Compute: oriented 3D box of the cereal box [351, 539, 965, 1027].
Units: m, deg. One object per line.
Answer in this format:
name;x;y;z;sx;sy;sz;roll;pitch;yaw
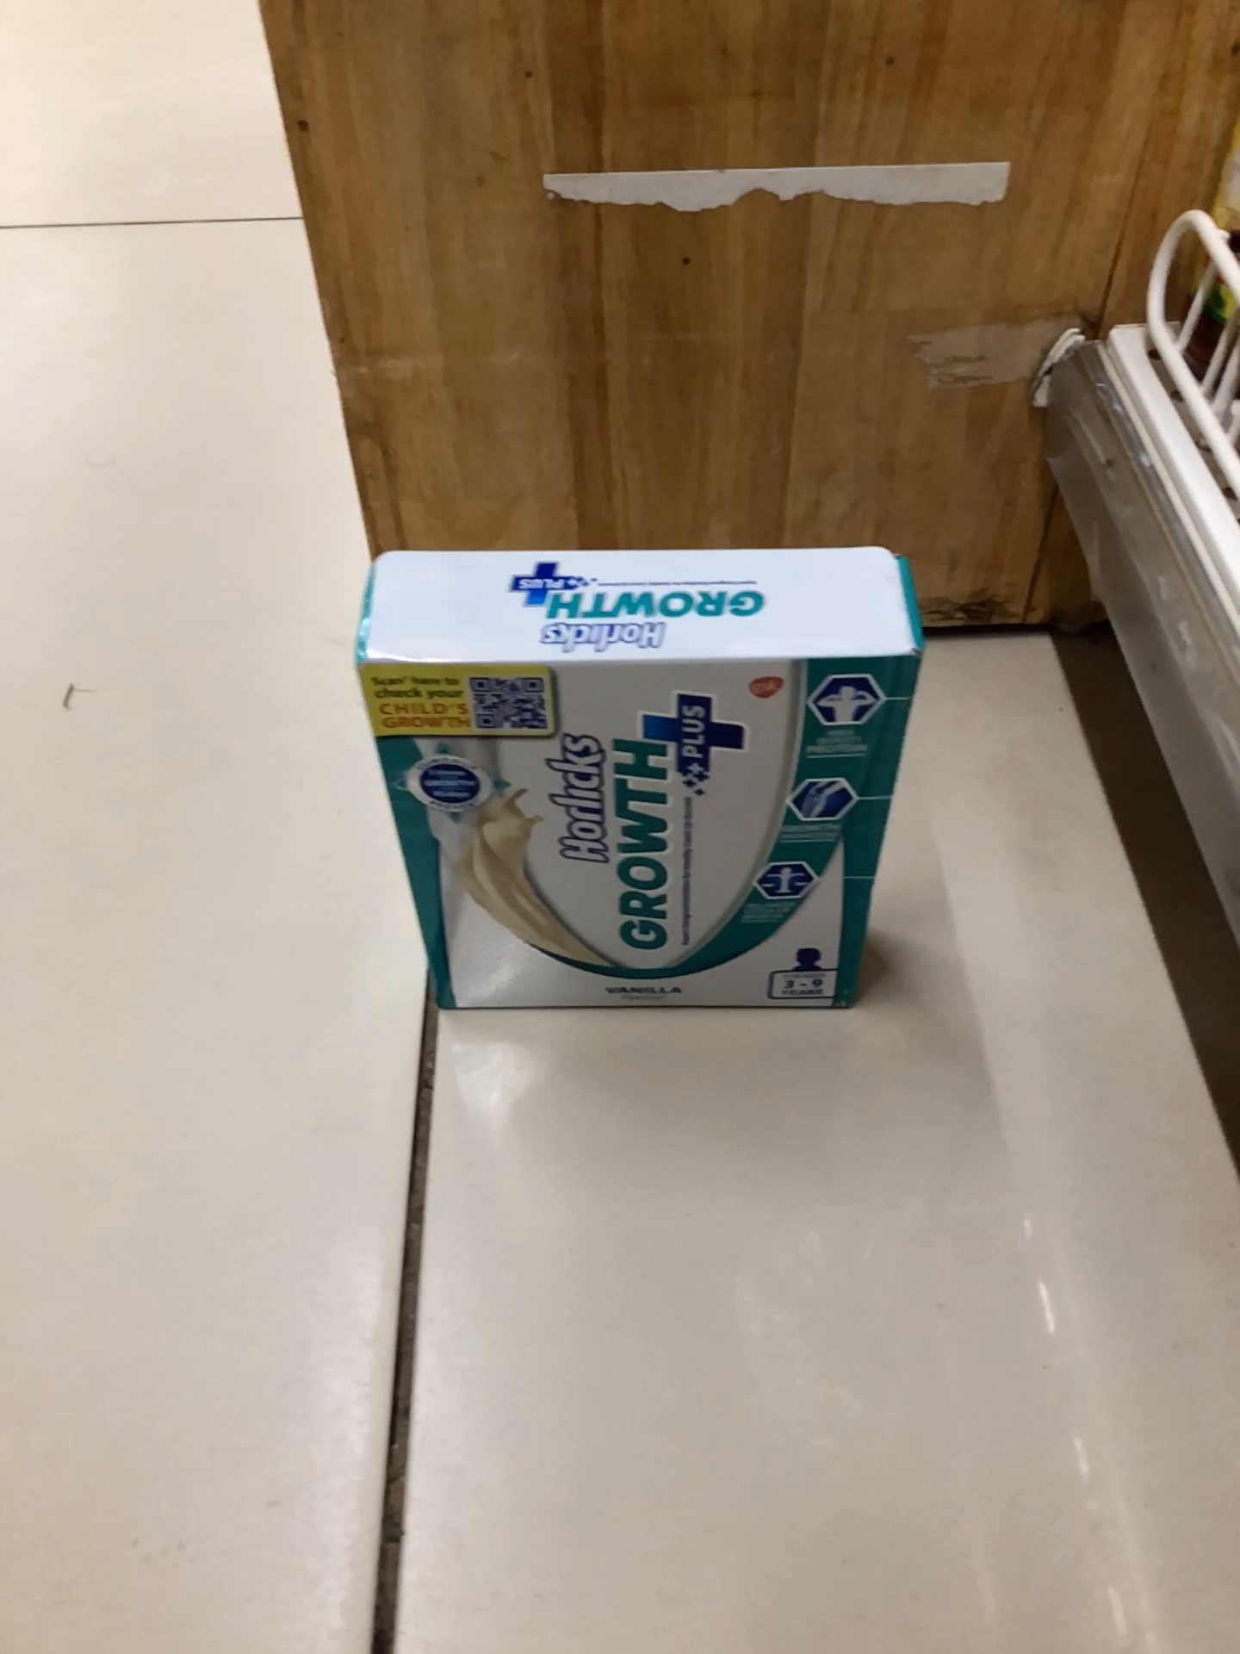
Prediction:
cereal box;0.012;-0.005;0.410;0.150;0.159;0.050;0;49;2
